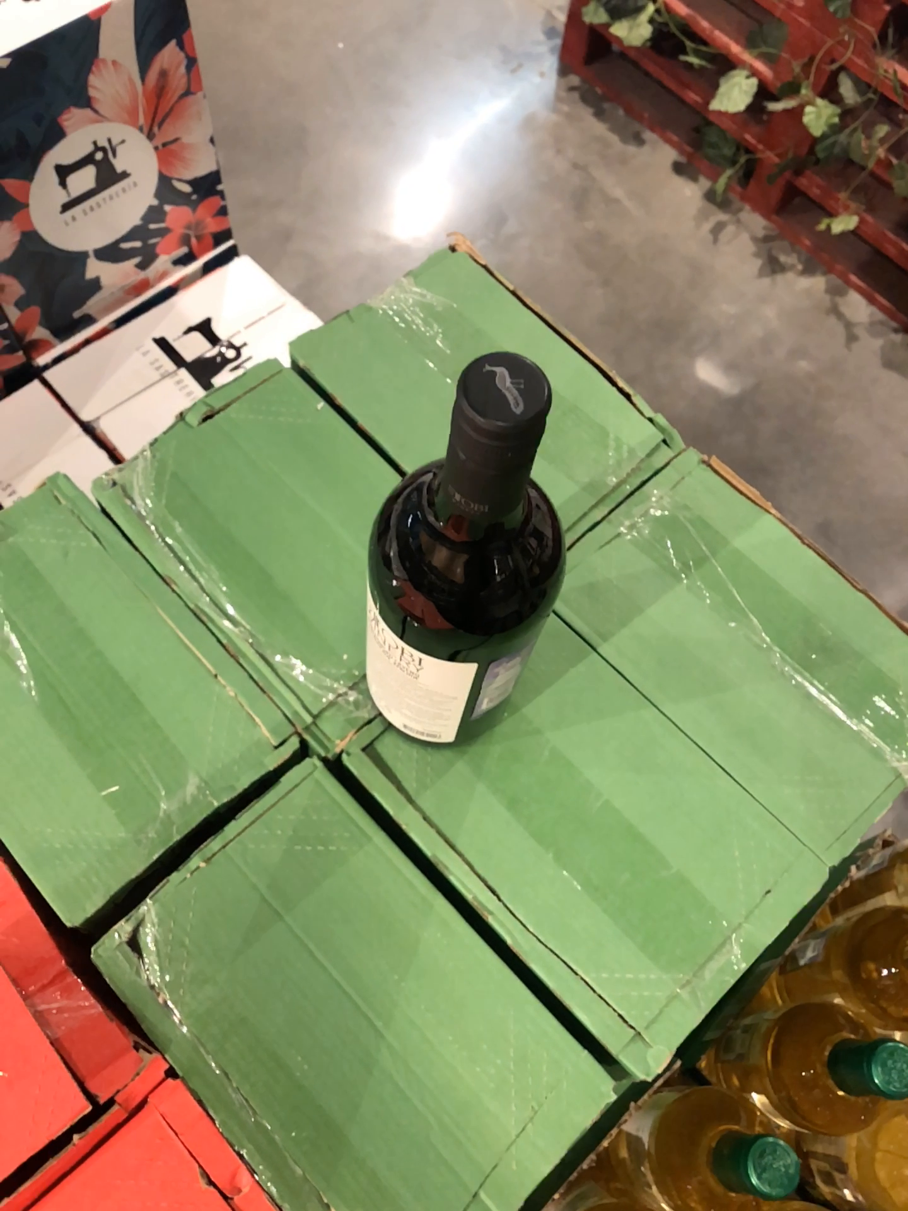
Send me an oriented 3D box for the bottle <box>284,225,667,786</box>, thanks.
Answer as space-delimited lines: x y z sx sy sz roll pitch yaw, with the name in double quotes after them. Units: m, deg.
-0.001 -0.014 0.443 0.080 0.289 0.090 -35 73 -17 "bottle"
